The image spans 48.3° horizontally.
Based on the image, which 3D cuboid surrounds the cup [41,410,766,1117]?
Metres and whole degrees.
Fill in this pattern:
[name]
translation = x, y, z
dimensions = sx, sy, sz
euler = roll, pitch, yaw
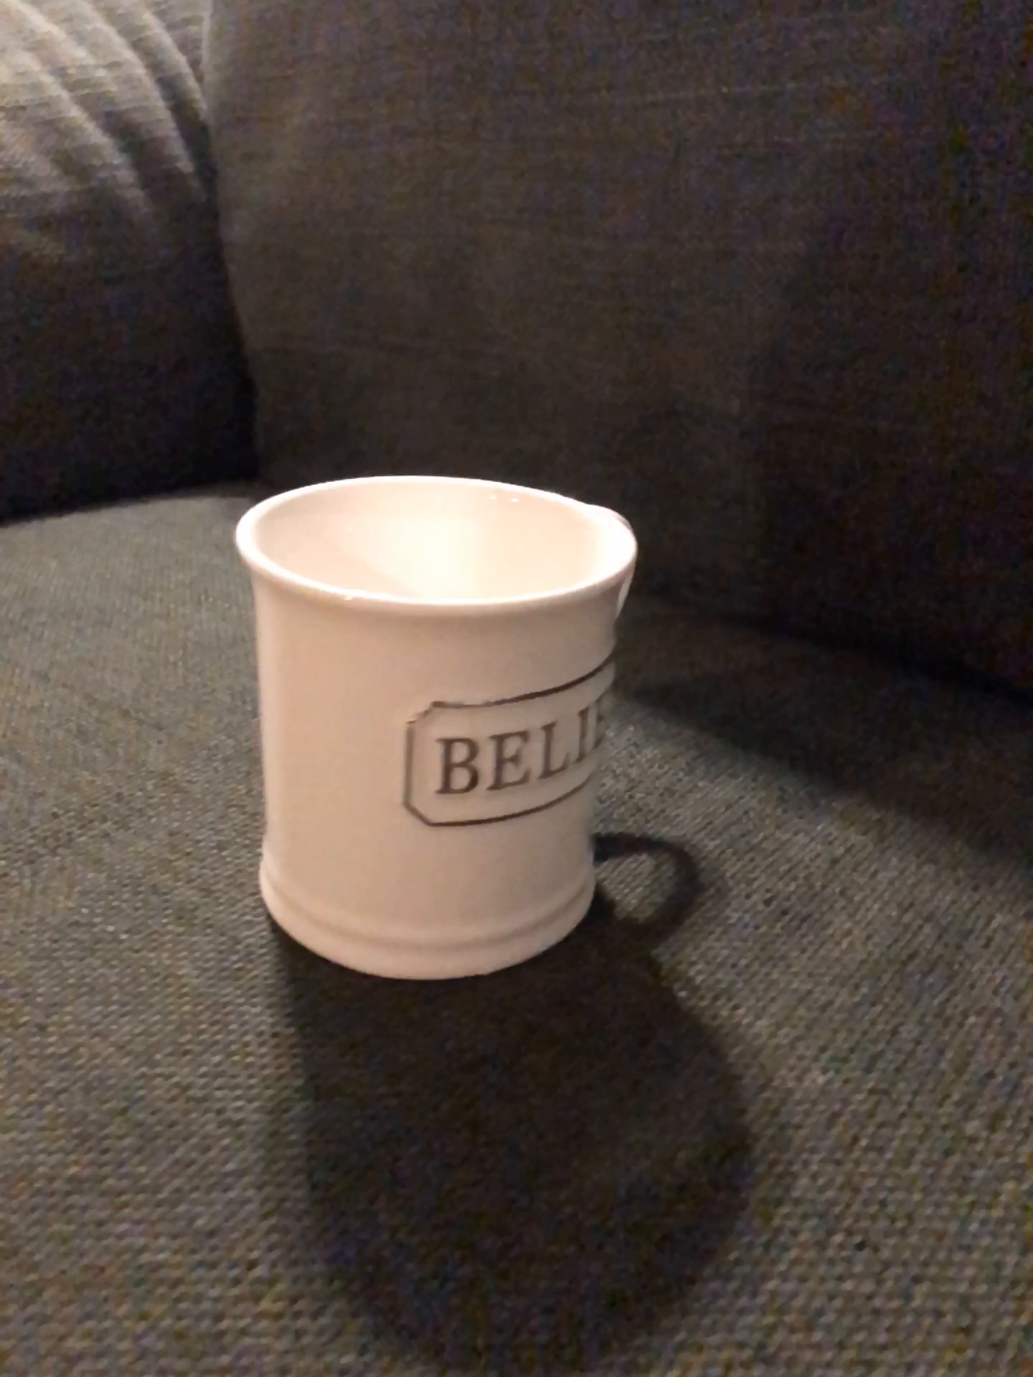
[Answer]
[cup]
translation = -0.017, 0.001, 0.282
dimensions = 0.100, 0.100, 0.140
euler = 17, 30, 27
